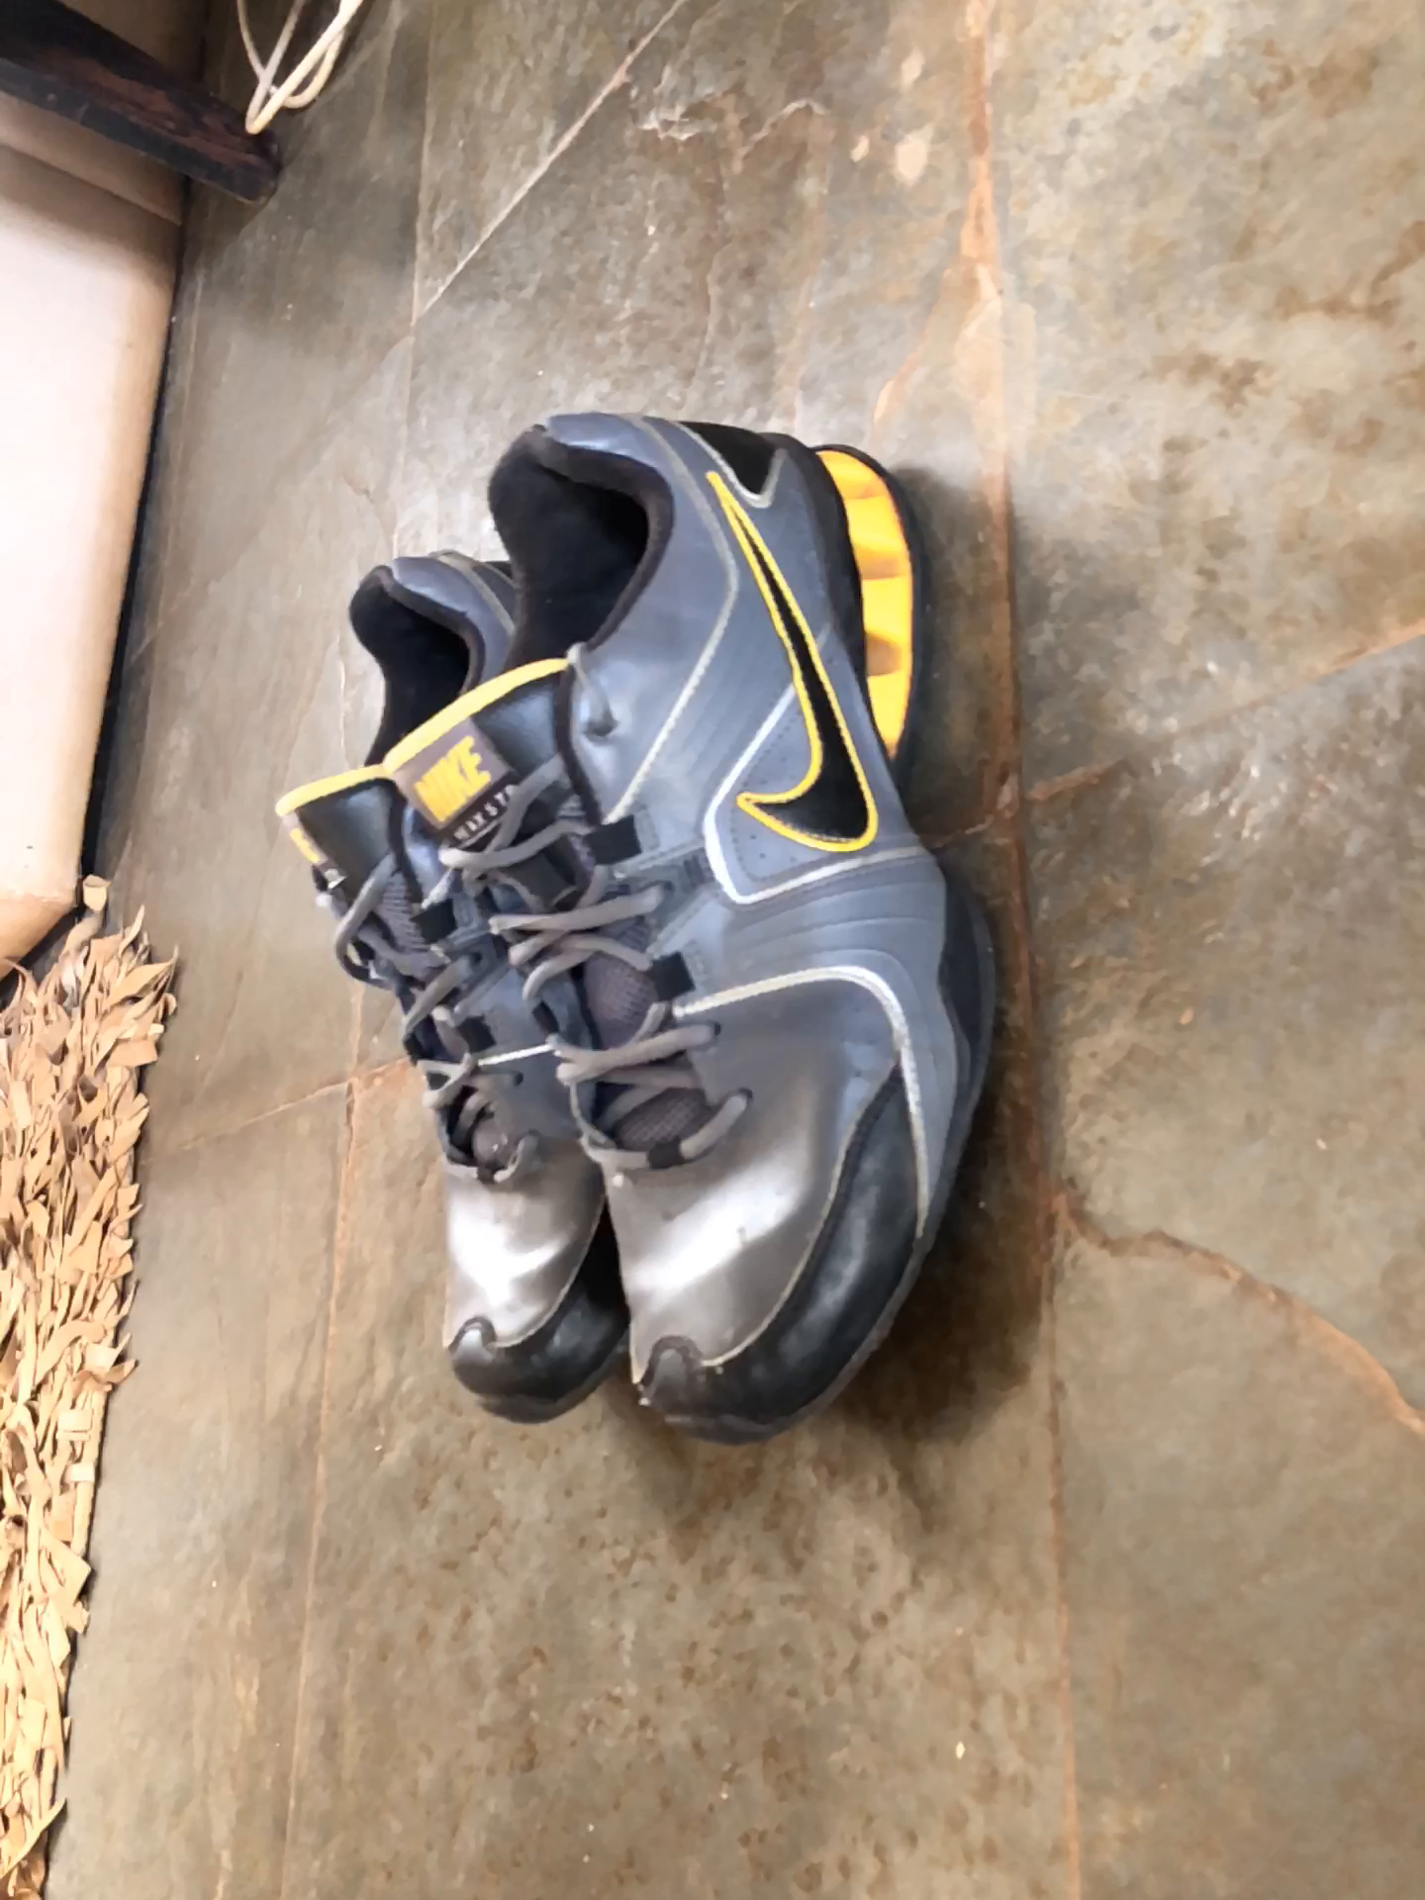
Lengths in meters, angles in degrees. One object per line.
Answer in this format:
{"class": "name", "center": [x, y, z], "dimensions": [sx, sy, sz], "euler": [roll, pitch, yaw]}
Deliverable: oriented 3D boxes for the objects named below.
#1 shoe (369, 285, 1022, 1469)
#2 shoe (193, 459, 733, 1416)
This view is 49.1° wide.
{"class": "shoe", "center": [-0.002, -0.007, 0.367], "dimensions": [0.100, 0.100, 0.240], "euler": [-20, 63, 51]}
{"class": "shoe", "center": [-0.067, 0.005, 0.446], "dimensions": [0.100, 0.100, 0.240], "euler": [-20, 63, 51]}
